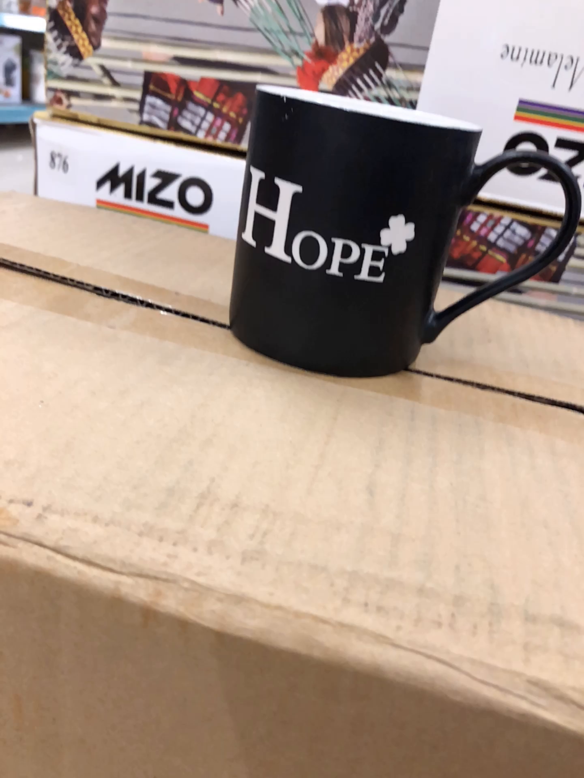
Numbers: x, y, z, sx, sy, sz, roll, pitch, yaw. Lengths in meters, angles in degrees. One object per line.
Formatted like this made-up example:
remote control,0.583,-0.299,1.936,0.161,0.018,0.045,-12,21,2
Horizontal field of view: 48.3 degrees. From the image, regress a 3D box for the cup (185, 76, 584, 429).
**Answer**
cup,0.035,-0.058,0.247,0.120,0.089,0.091,13,26,4
